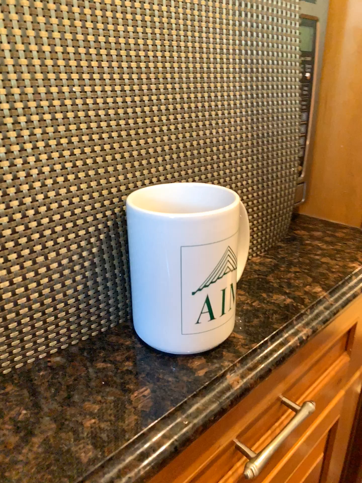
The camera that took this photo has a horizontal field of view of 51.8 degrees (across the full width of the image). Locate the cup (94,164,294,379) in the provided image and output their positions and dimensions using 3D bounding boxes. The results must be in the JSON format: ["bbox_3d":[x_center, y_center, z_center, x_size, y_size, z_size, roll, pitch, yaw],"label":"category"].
[{"bbox_3d":[0.017,0.008,0.296,0.090,0.109,0.130,15,27,34],"label":"cup"}]
